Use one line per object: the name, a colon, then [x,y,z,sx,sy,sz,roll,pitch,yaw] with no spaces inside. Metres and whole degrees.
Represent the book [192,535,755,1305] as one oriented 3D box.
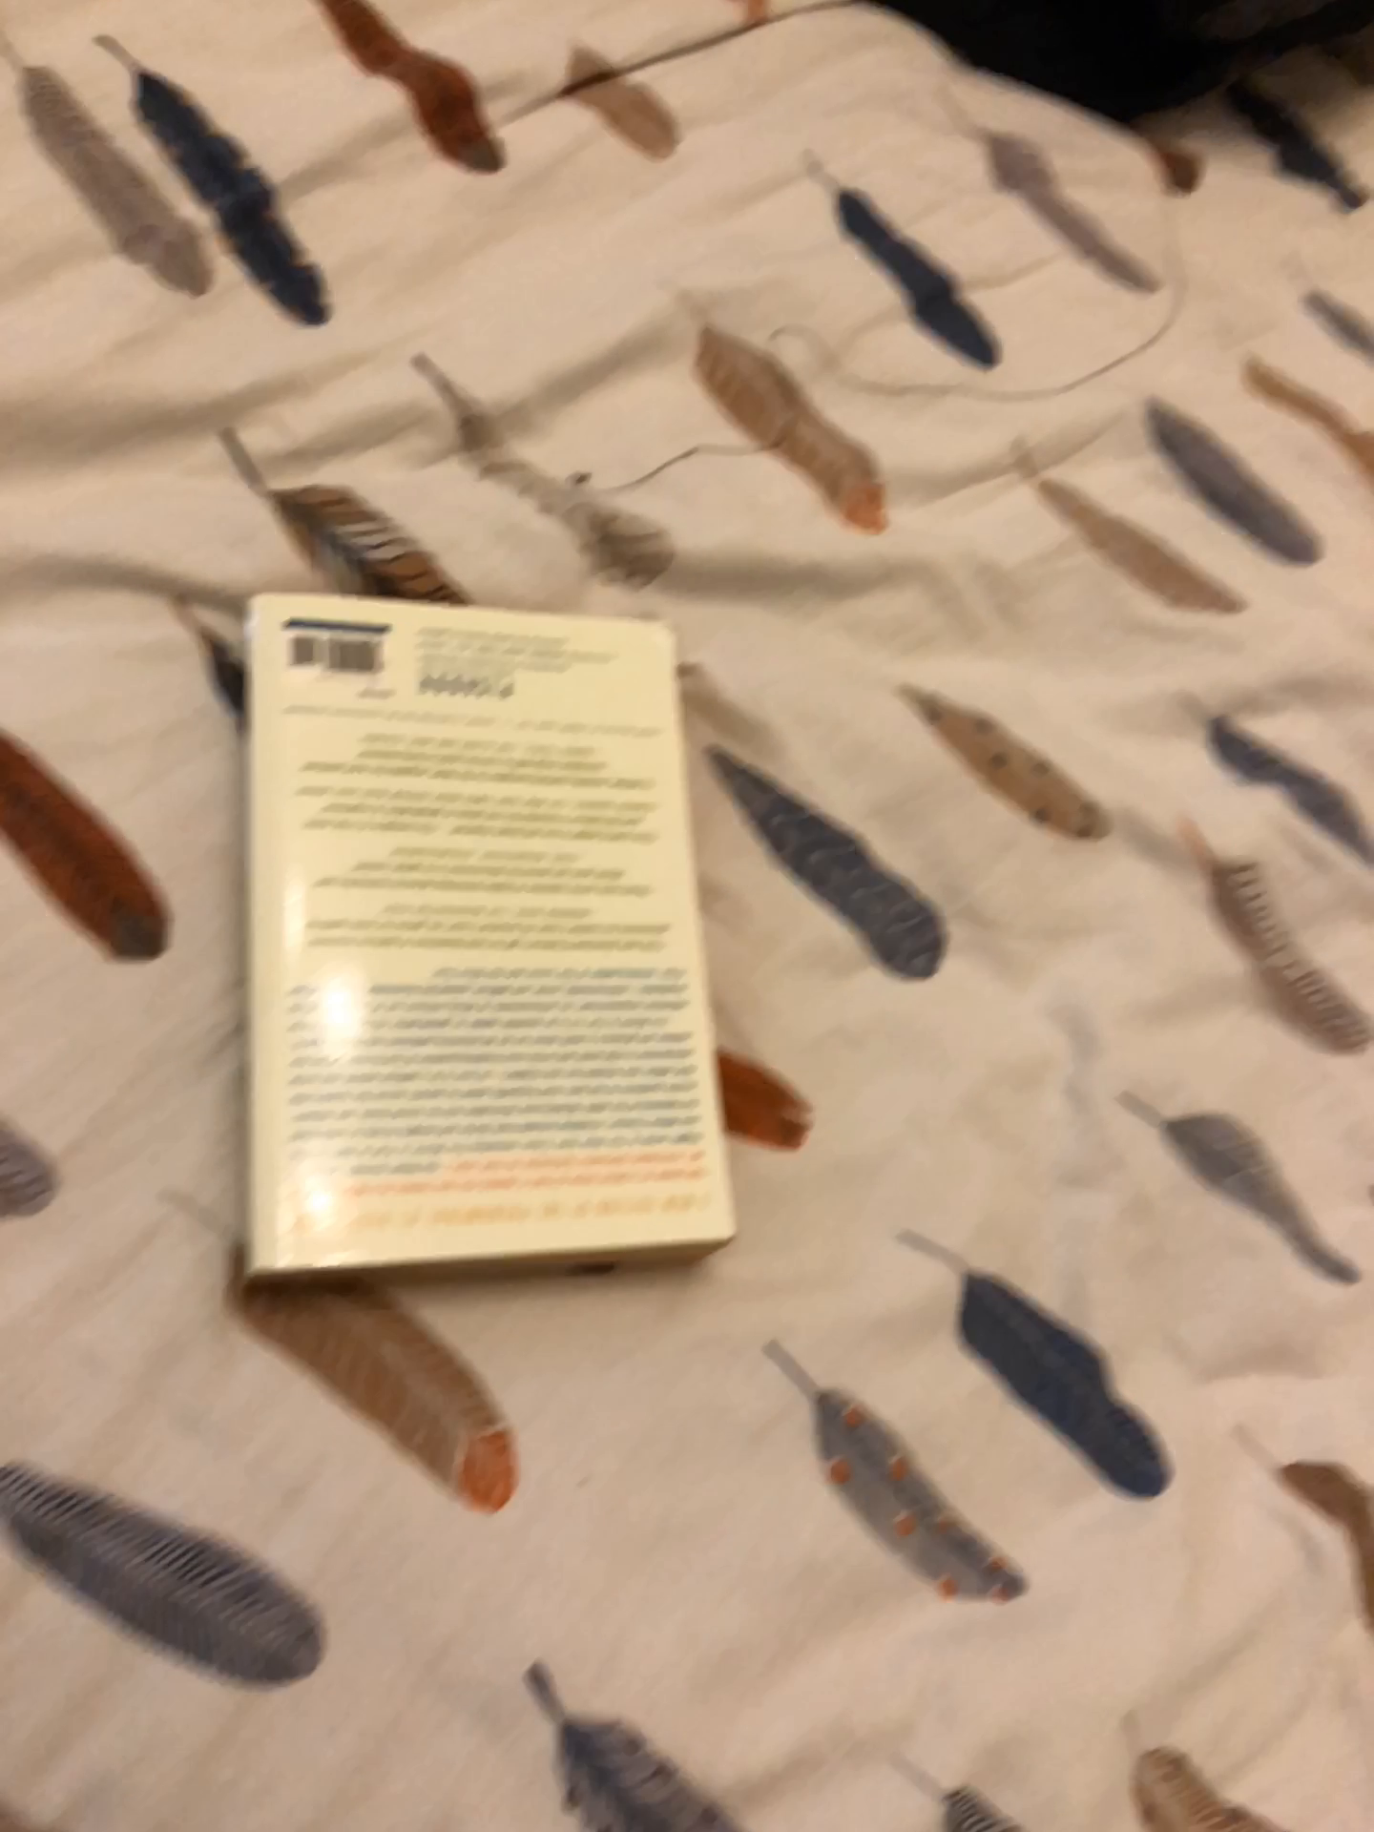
book: [-0.069,-0.002,0.470,0.150,0.040,0.220,0,73,-24]
